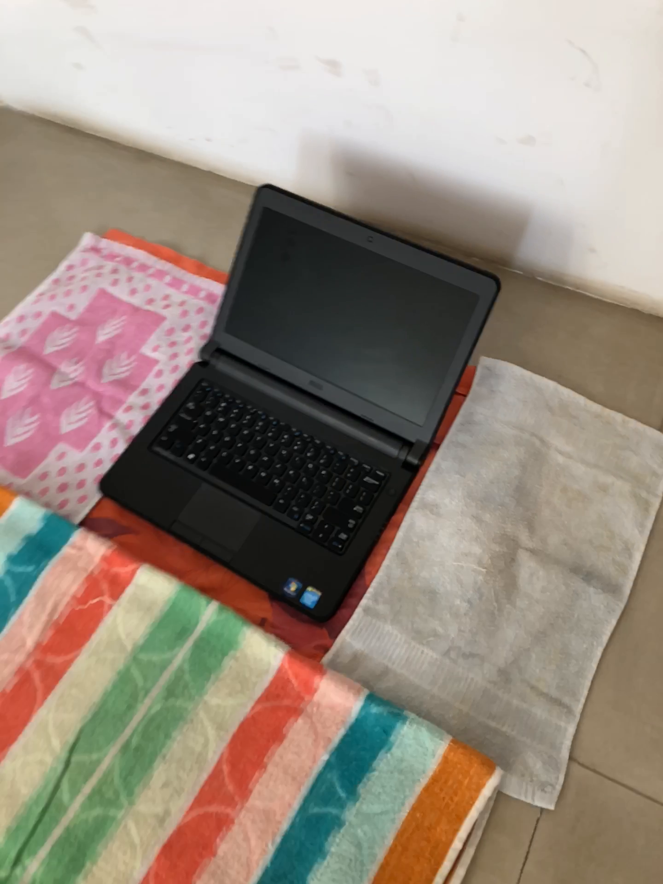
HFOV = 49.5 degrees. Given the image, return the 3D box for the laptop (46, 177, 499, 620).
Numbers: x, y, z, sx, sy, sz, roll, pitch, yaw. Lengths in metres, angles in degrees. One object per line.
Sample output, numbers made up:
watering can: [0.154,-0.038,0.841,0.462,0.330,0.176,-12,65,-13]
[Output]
laptop: [-0.050,-0.065,0.819,0.313,0.143,0.392,27,68,16]
